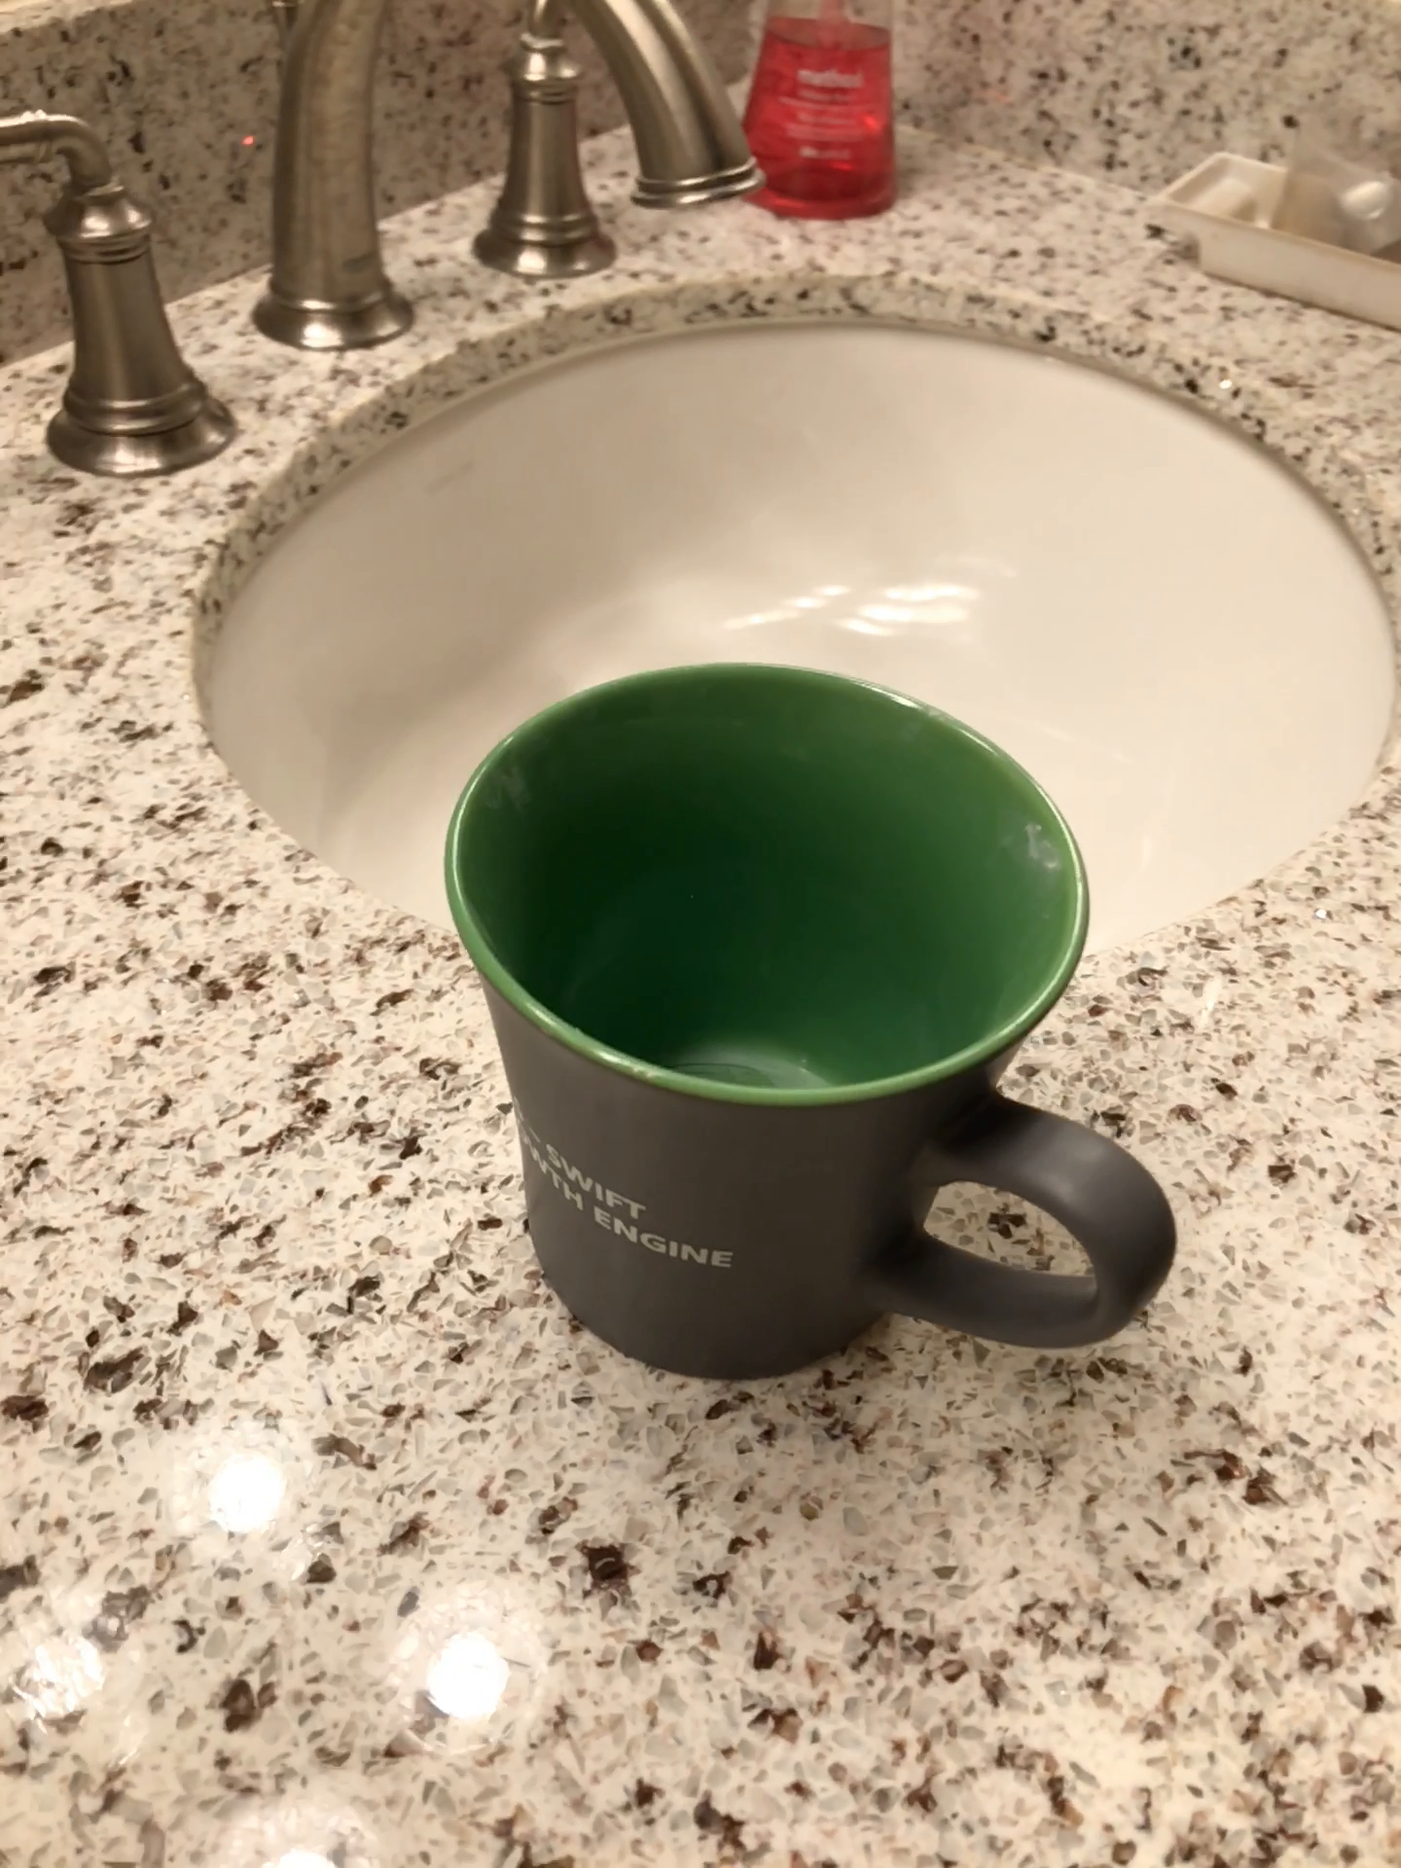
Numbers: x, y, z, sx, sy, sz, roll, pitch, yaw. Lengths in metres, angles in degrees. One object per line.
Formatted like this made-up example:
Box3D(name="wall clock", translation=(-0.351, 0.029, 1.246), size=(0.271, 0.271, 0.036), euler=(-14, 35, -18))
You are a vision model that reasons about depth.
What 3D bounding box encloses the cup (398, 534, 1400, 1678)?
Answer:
Box3D(name="cup", translation=(0.035, 0.023, 0.271), size=(0.140, 0.109, 0.101), euler=(34, 52, 26))
